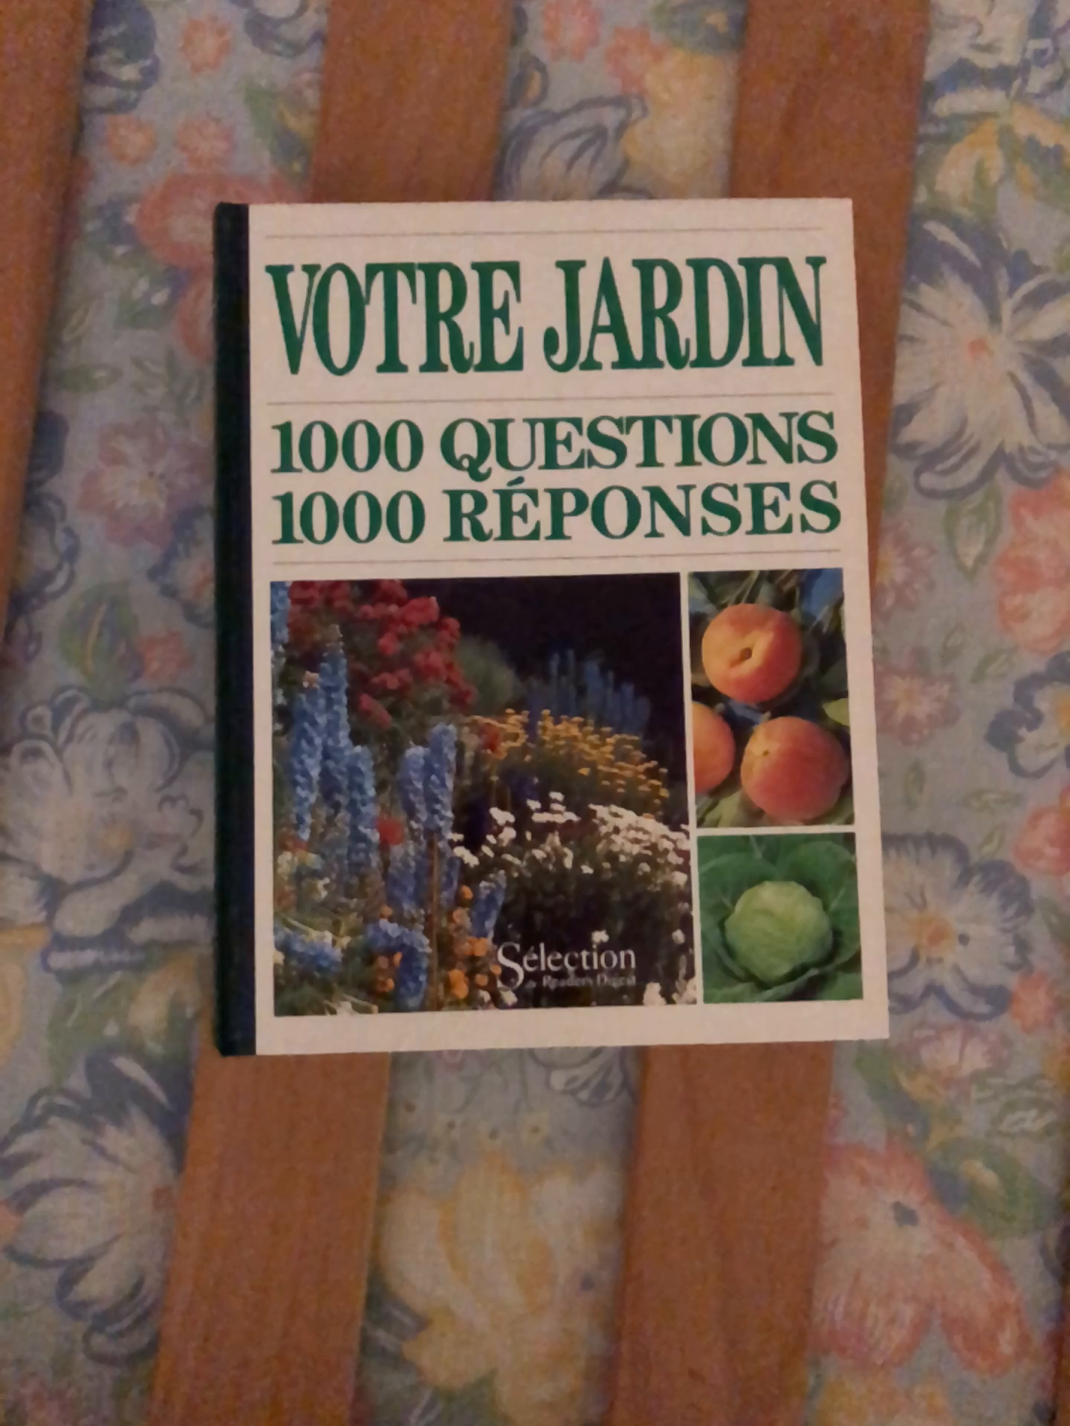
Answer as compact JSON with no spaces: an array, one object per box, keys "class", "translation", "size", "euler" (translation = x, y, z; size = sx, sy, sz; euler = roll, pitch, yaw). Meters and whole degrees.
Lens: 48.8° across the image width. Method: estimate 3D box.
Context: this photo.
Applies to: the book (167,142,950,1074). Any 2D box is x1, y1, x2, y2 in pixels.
[{"class":"book","translation":[0.004,-0.034,0.375],"size":[0.220,0.050,0.270],"euler":[-3,86,-1]}]
